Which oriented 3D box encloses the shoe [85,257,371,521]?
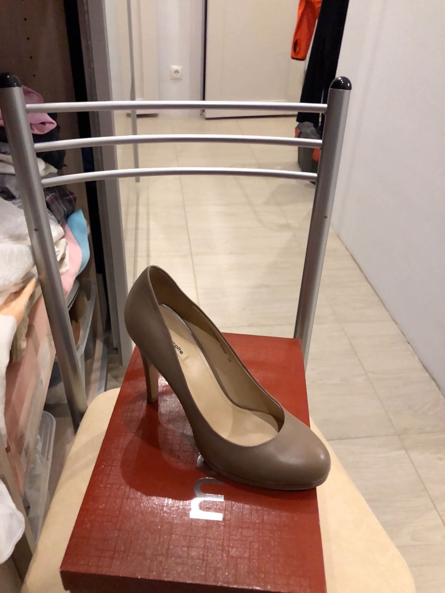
[{"bbox_3d":[0.000,0.075,0.432,0.214,0.145,0.084,18,38,21],"label":"shoe"}]
